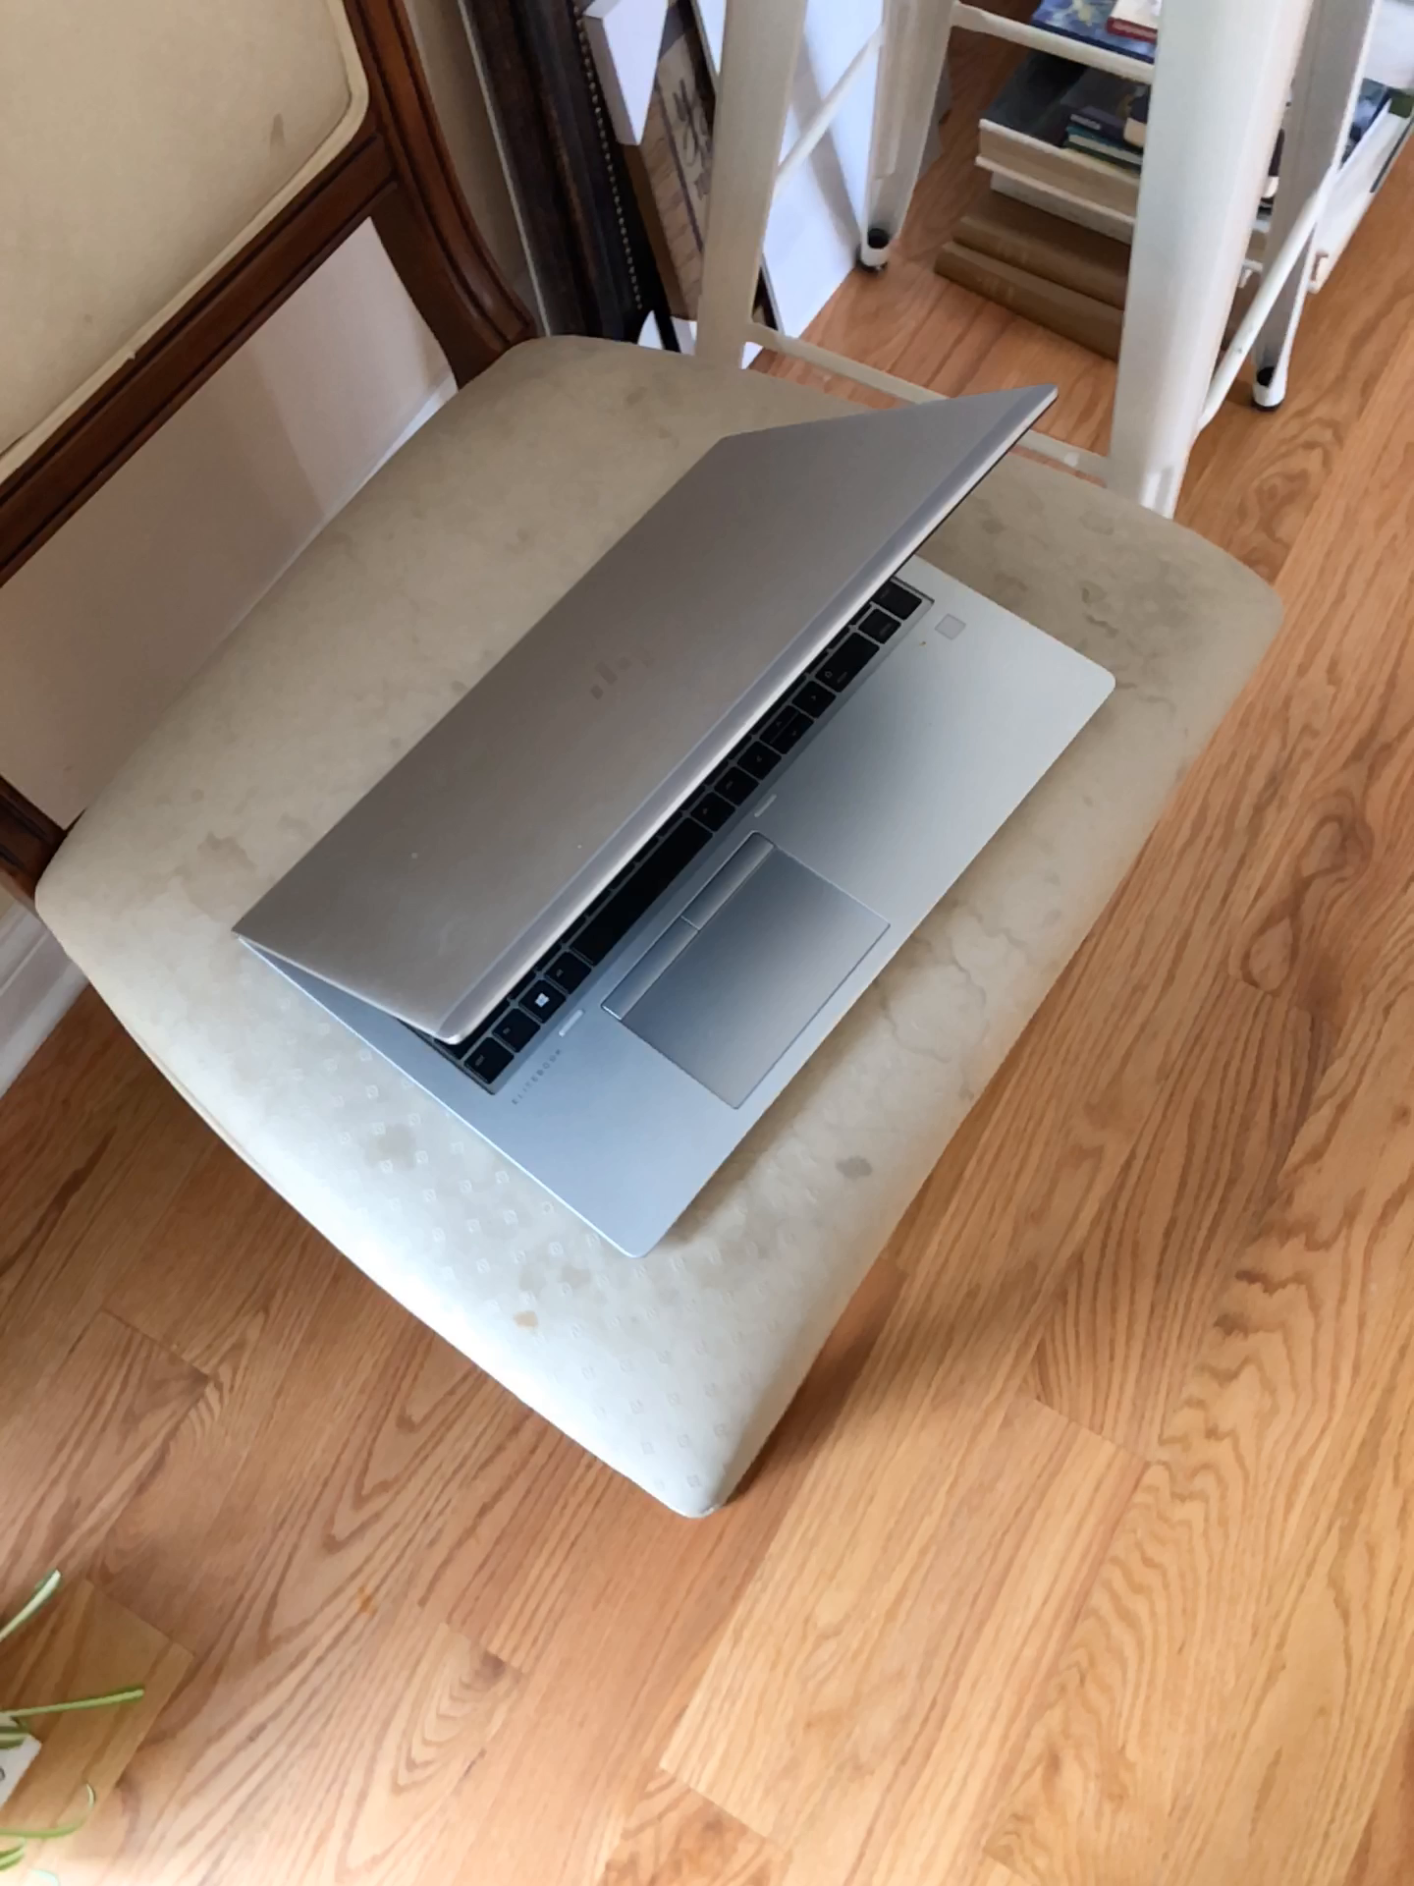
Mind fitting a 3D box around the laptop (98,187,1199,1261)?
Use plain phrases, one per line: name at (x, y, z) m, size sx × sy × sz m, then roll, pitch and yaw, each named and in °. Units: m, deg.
laptop at (-0.013, -0.098, 0.671) m, size 0.244 × 0.159 × 0.366 m, roll 36°, pitch 73°, yaw 16°
